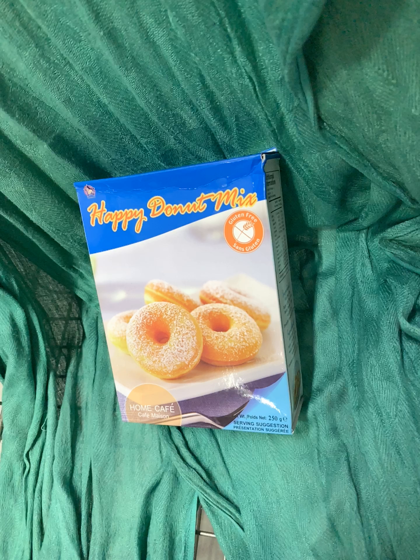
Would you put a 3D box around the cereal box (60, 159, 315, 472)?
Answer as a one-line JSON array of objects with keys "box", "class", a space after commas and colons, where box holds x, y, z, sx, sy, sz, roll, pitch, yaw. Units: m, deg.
[{"box": [-0.008, 0.023, 0.286, 0.130, 0.060, 0.180, -4, 103, 20], "class": "cereal box"}]
